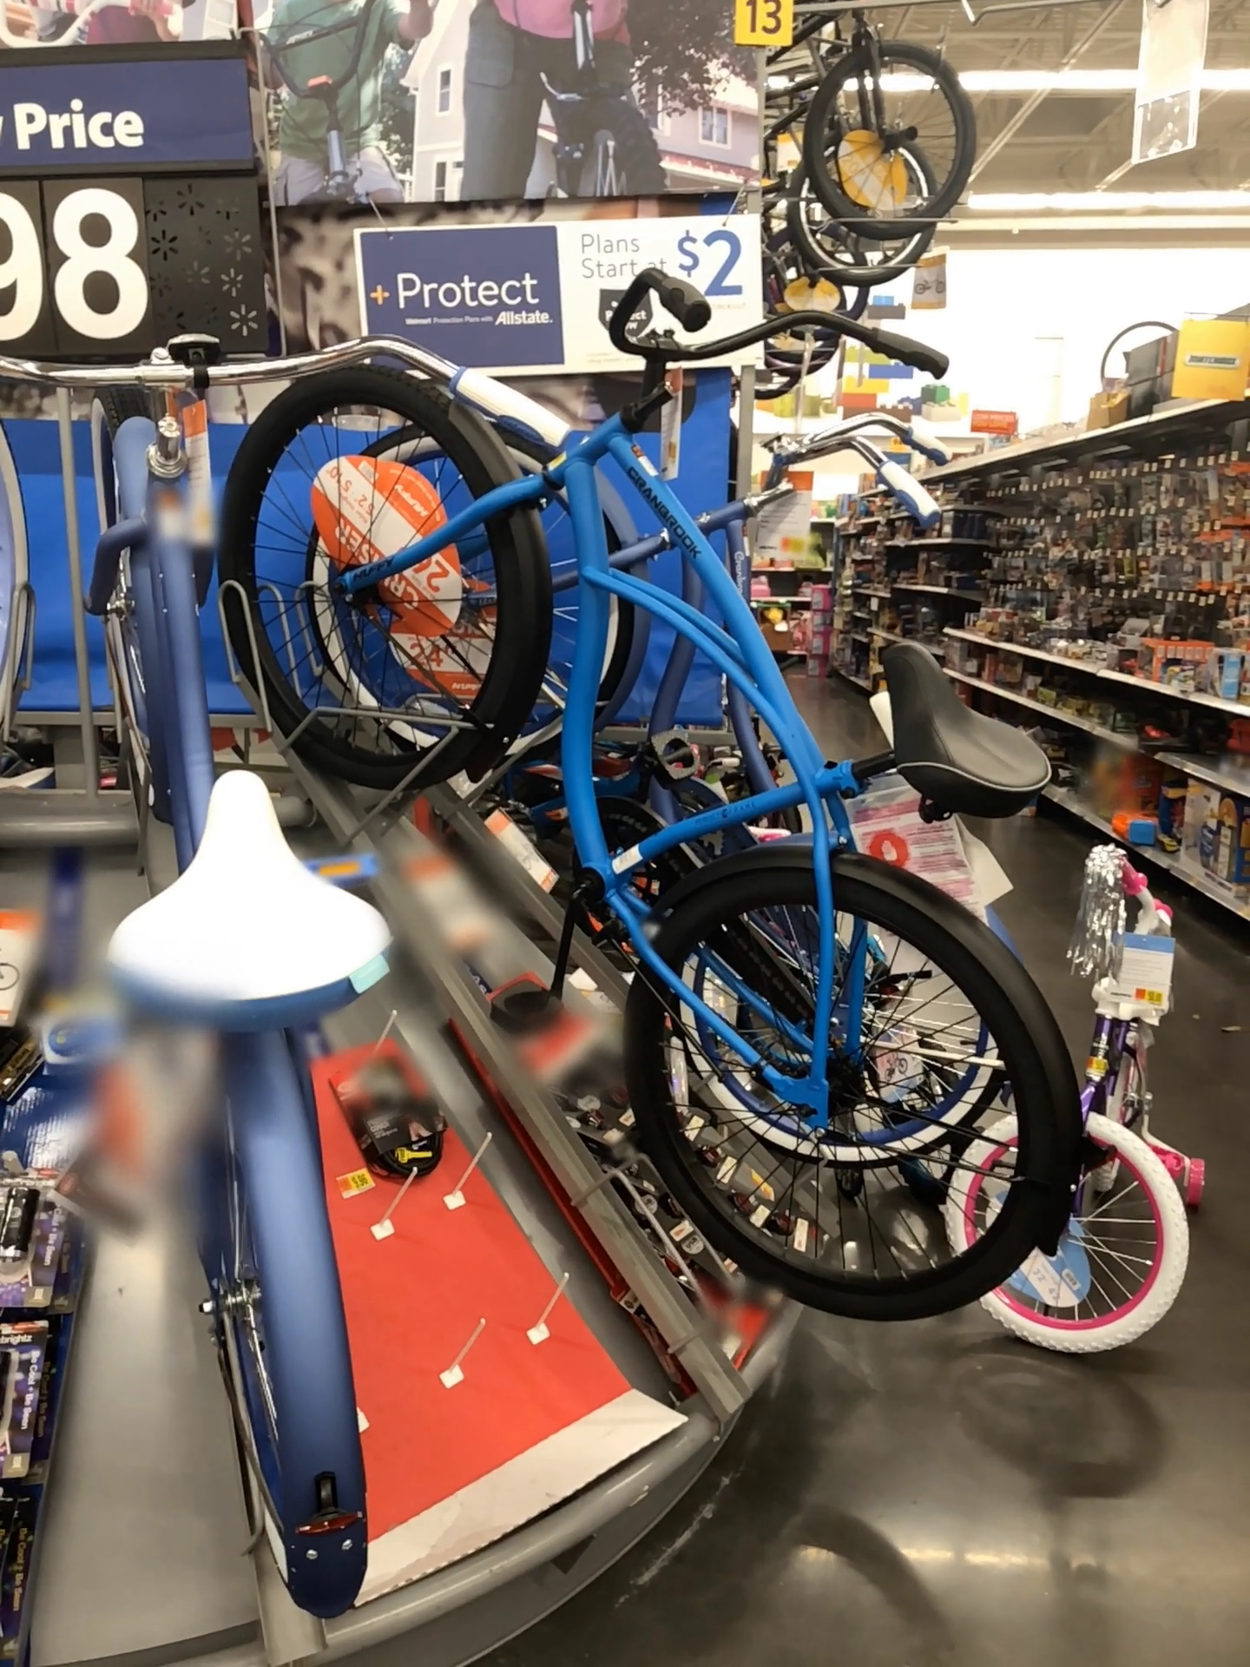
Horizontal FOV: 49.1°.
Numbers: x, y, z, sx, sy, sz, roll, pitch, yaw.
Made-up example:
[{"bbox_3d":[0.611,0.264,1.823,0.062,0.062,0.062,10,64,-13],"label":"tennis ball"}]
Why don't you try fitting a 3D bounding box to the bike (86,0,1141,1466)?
[{"bbox_3d":[-0.017,-0.535,1.812,1.559,1.122,0.506,34,24,20],"label":"bike"}]
